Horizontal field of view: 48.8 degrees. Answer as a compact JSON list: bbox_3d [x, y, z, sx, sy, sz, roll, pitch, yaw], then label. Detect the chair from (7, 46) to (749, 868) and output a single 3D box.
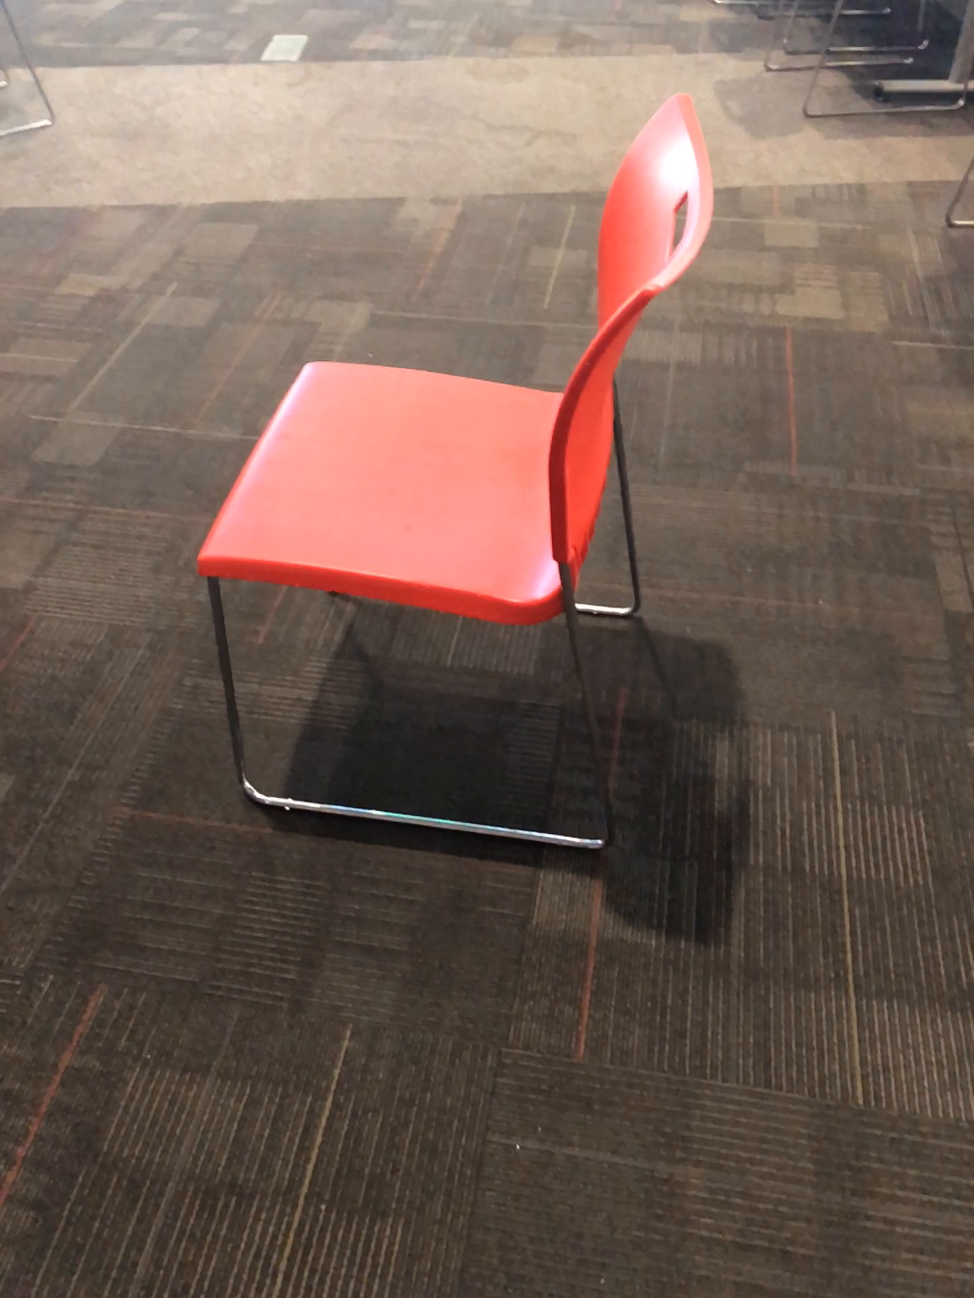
[{"bbox_3d":[-0.046,-0.226,1.322,0.610,0.766,0.562,6,45,8],"label":"chair"}]
